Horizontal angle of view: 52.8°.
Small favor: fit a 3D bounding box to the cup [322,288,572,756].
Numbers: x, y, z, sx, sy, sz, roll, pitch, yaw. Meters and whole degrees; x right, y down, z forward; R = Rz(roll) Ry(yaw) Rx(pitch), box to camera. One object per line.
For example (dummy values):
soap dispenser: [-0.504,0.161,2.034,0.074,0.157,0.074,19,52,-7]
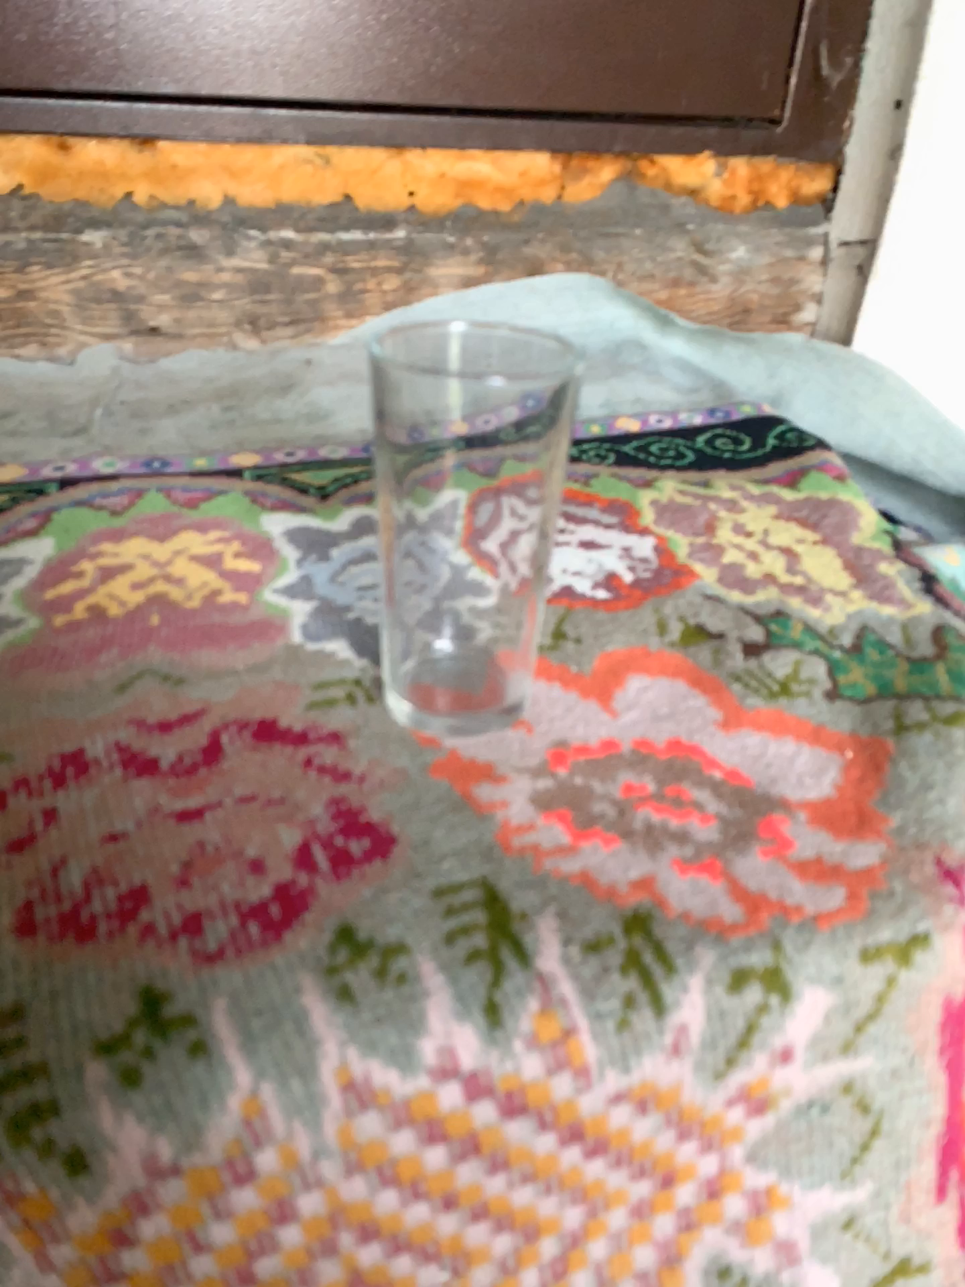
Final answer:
cup: [-0.009,-0.035,0.288,0.060,0.119,0.061,2,31,-1]
